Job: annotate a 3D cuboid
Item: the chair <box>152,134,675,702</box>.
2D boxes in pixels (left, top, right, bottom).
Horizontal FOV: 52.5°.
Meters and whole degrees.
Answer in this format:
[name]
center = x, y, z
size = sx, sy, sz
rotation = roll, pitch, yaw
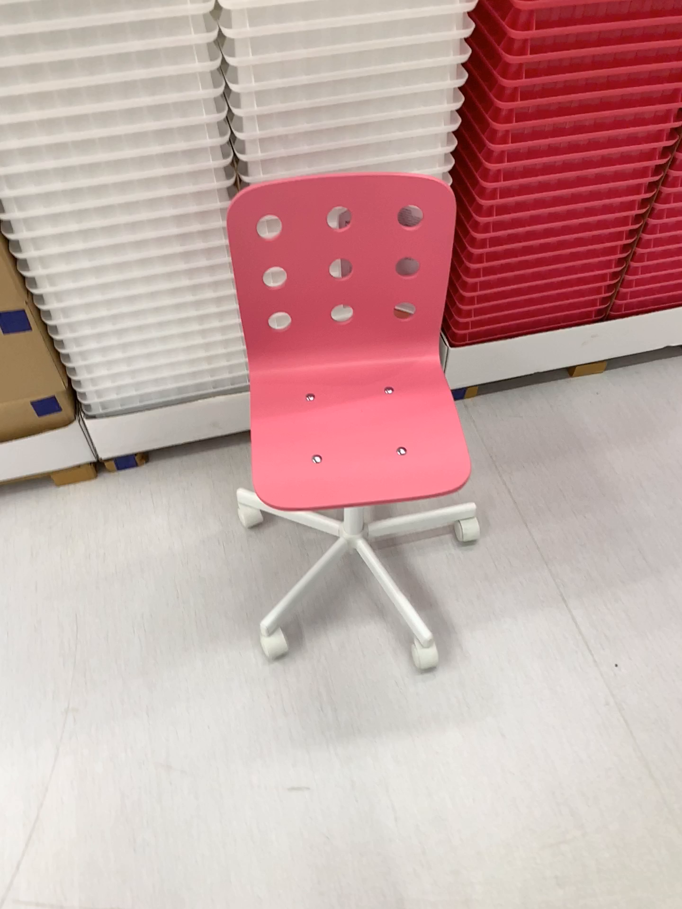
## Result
[chair]
center = 0.039, -0.026, 1.167
size = 0.550, 0.708, 0.582
rotation = -7, 54, -5
